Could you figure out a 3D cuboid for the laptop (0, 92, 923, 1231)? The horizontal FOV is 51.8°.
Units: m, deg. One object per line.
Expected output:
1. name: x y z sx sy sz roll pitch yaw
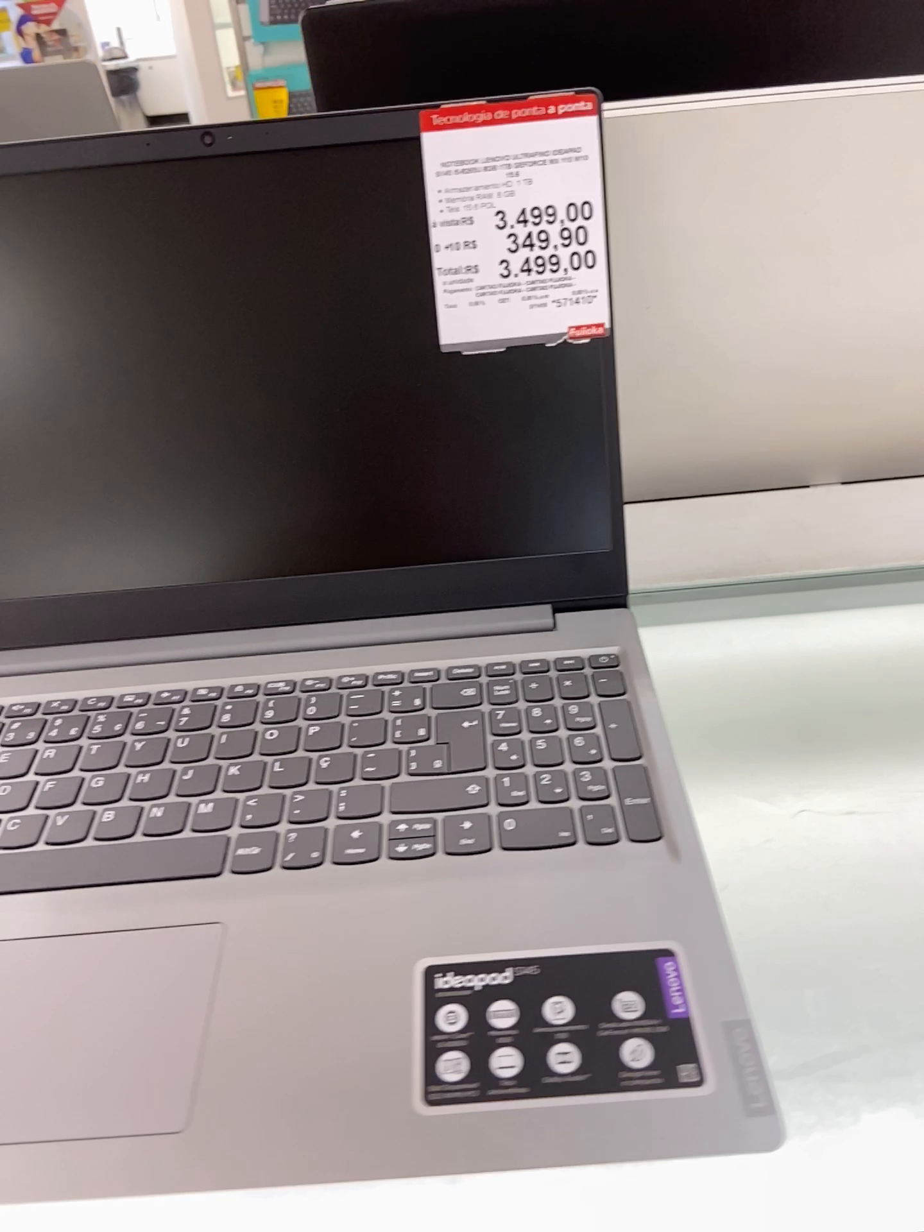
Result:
1. laptop: -0.101 -0.030 0.353 0.359 0.201 0.368 -5 38 1
